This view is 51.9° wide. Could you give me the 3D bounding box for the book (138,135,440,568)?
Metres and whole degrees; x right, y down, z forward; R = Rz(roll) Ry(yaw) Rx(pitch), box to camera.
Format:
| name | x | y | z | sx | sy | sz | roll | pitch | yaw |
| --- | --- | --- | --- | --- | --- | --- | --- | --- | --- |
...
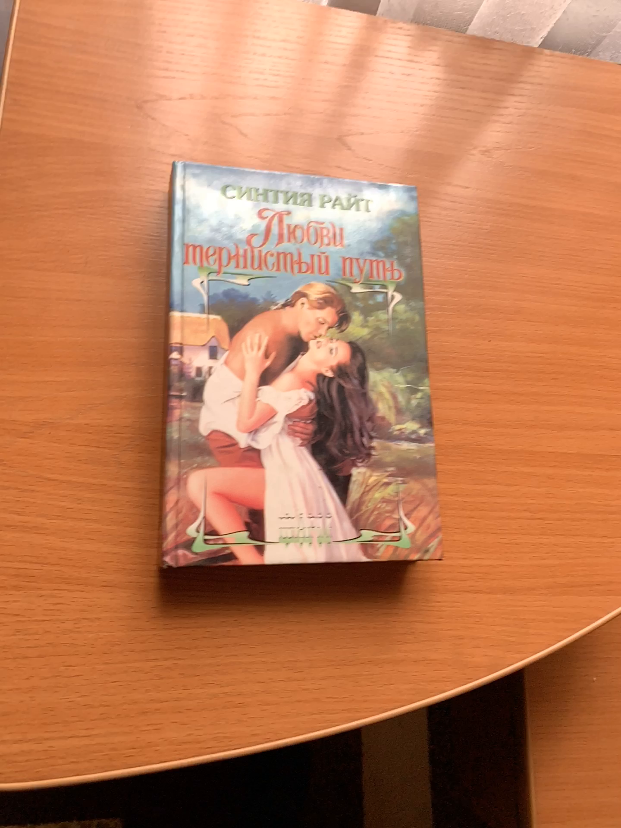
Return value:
| name | x | y | z | sx | sy | sz | roll | pitch | yaw |
| --- | --- | --- | --- | --- | --- | --- | --- | --- | --- |
| book | -0.010 | -0.031 | 0.327 | 0.140 | 0.030 | 0.210 | 2 | 78 | -13 |
